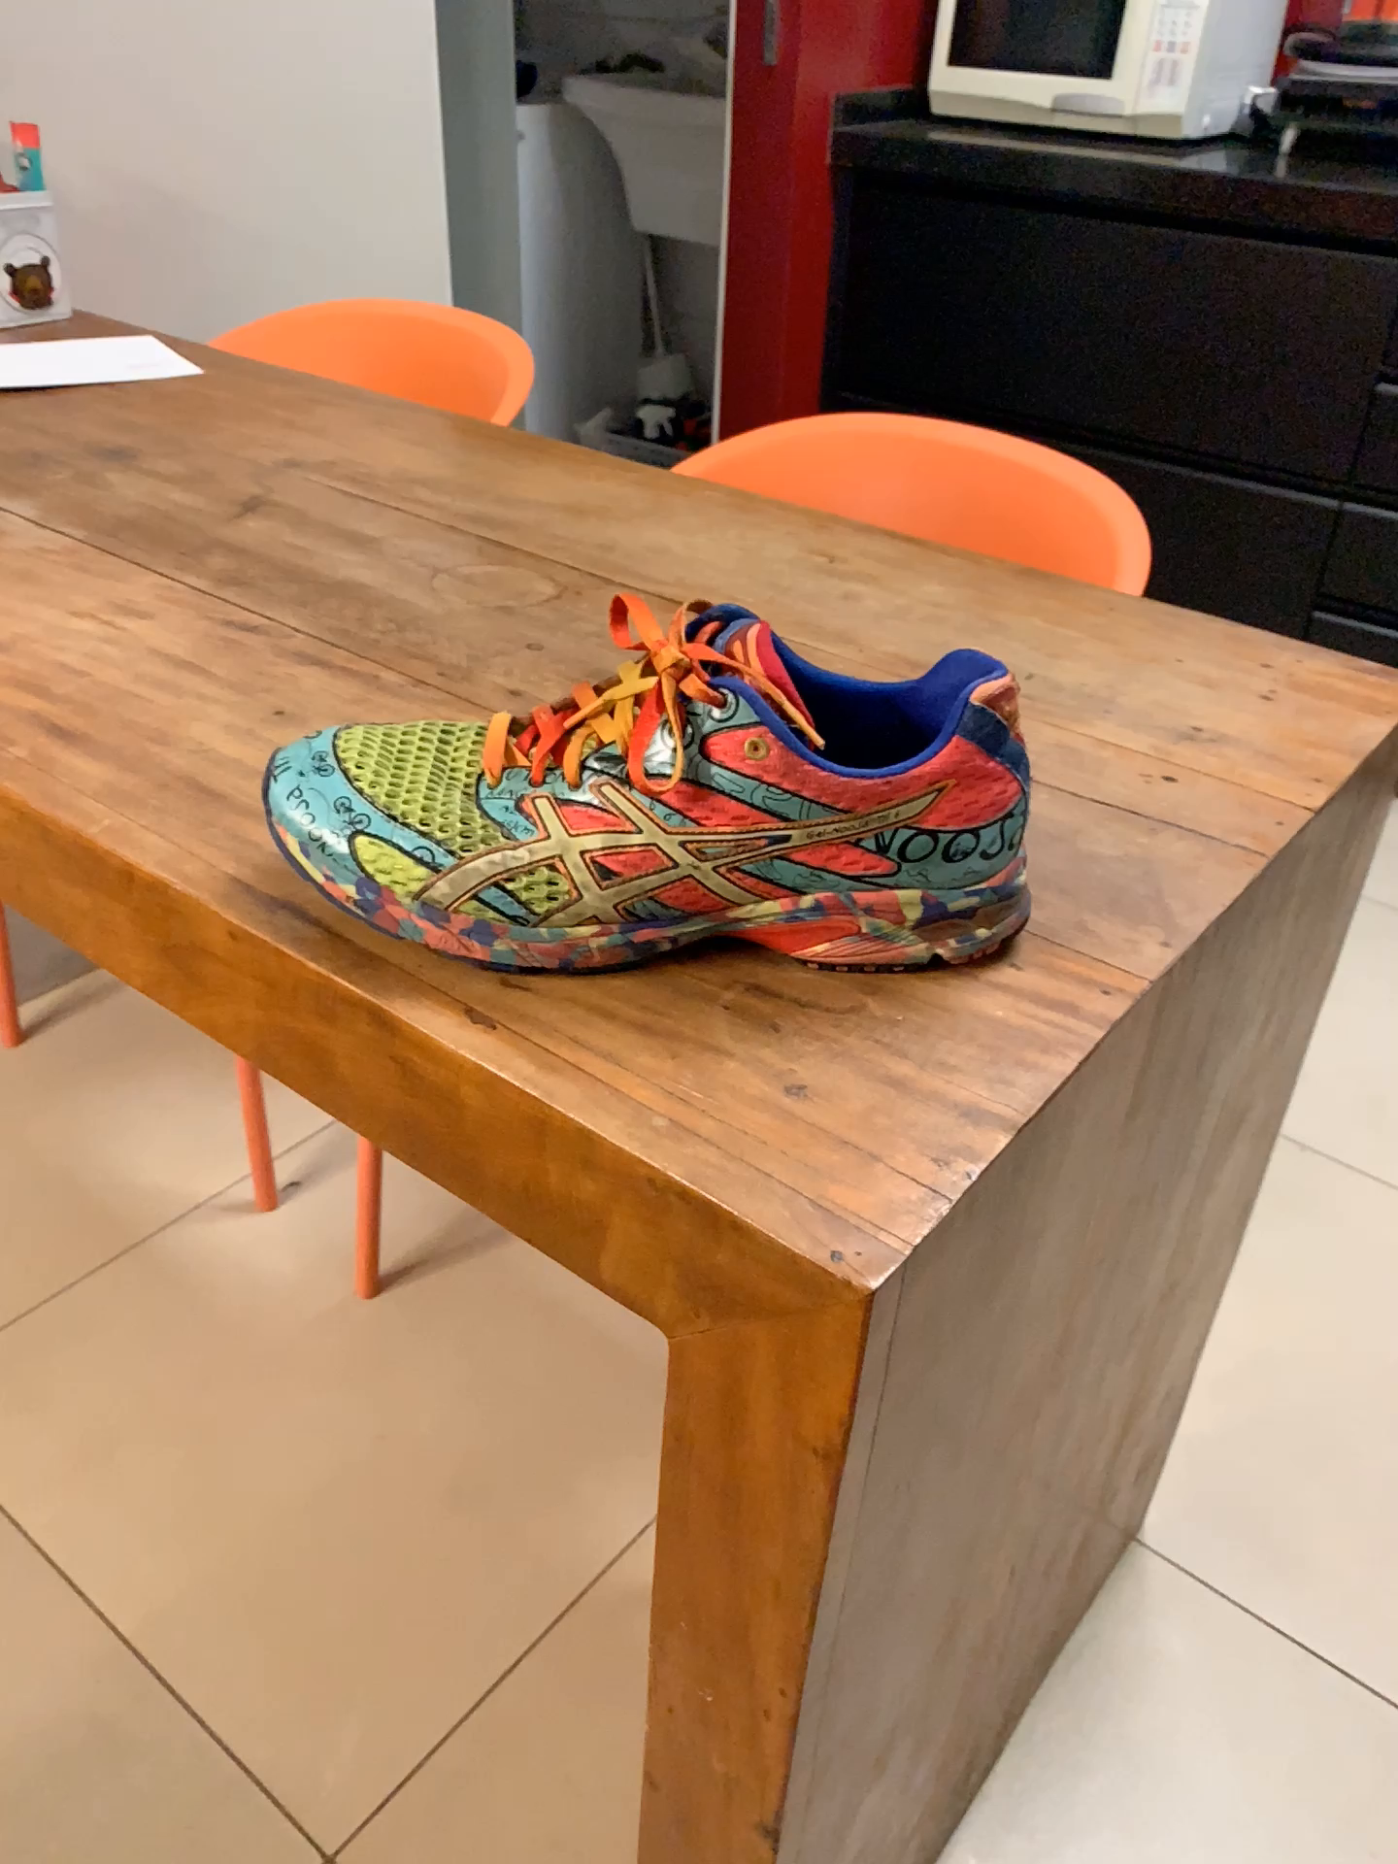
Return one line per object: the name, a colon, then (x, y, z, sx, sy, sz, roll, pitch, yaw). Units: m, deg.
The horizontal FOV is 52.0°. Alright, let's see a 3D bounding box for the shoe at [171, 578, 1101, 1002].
shoe: (-0.022, -0.056, 0.557, 0.310, 0.118, 0.111, 1, 34, -2)
